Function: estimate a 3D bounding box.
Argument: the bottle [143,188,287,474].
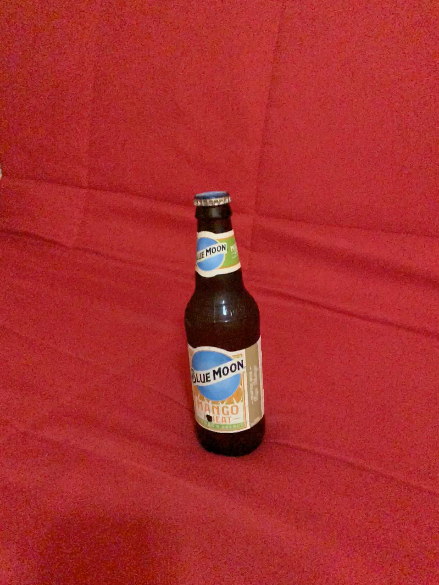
[{"bbox_3d":[0.004,0.031,0.367,0.070,0.216,0.069,-5,23,2],"label":"bottle"}]
